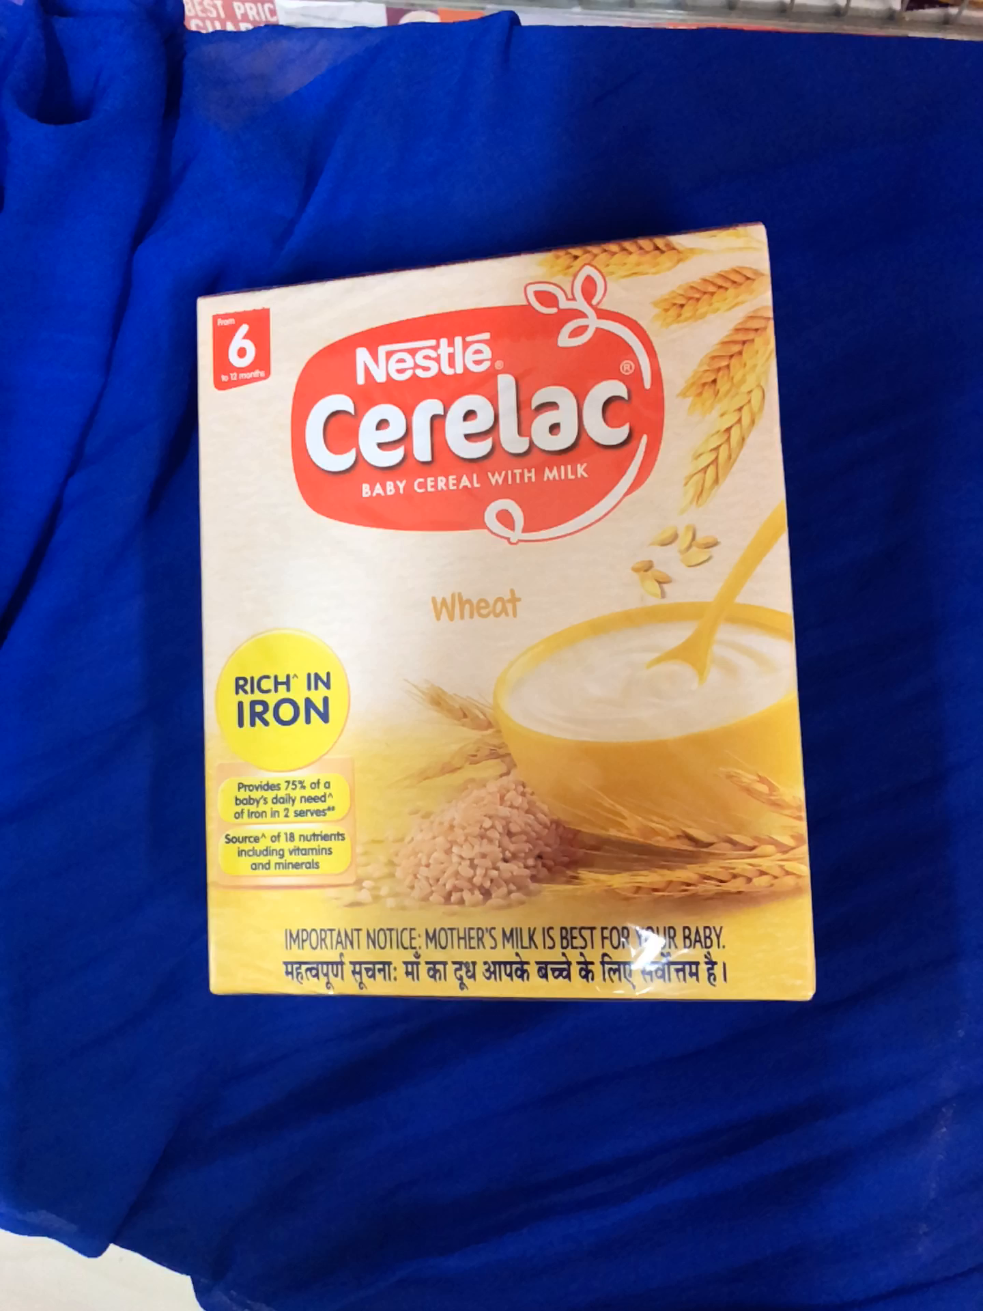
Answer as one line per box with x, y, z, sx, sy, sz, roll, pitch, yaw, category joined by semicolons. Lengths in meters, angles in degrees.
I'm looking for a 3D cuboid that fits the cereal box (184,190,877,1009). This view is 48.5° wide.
0.008;-0.010;0.293;0.160;0.060;0.190;-3;86;8;cereal box
